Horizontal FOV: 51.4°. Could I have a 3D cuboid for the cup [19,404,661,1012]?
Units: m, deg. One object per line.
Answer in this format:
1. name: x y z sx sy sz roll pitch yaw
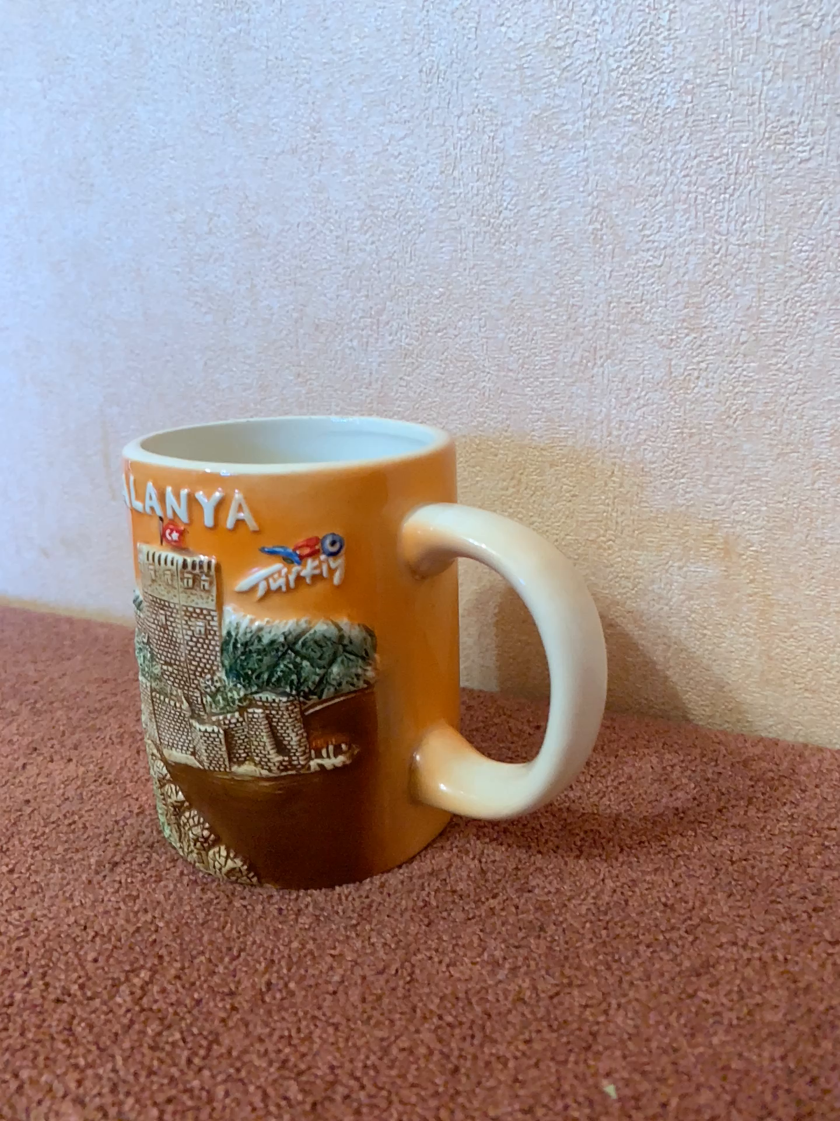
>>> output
1. cup: -0.014 0.018 0.216 0.120 0.098 0.088 8 21 32
